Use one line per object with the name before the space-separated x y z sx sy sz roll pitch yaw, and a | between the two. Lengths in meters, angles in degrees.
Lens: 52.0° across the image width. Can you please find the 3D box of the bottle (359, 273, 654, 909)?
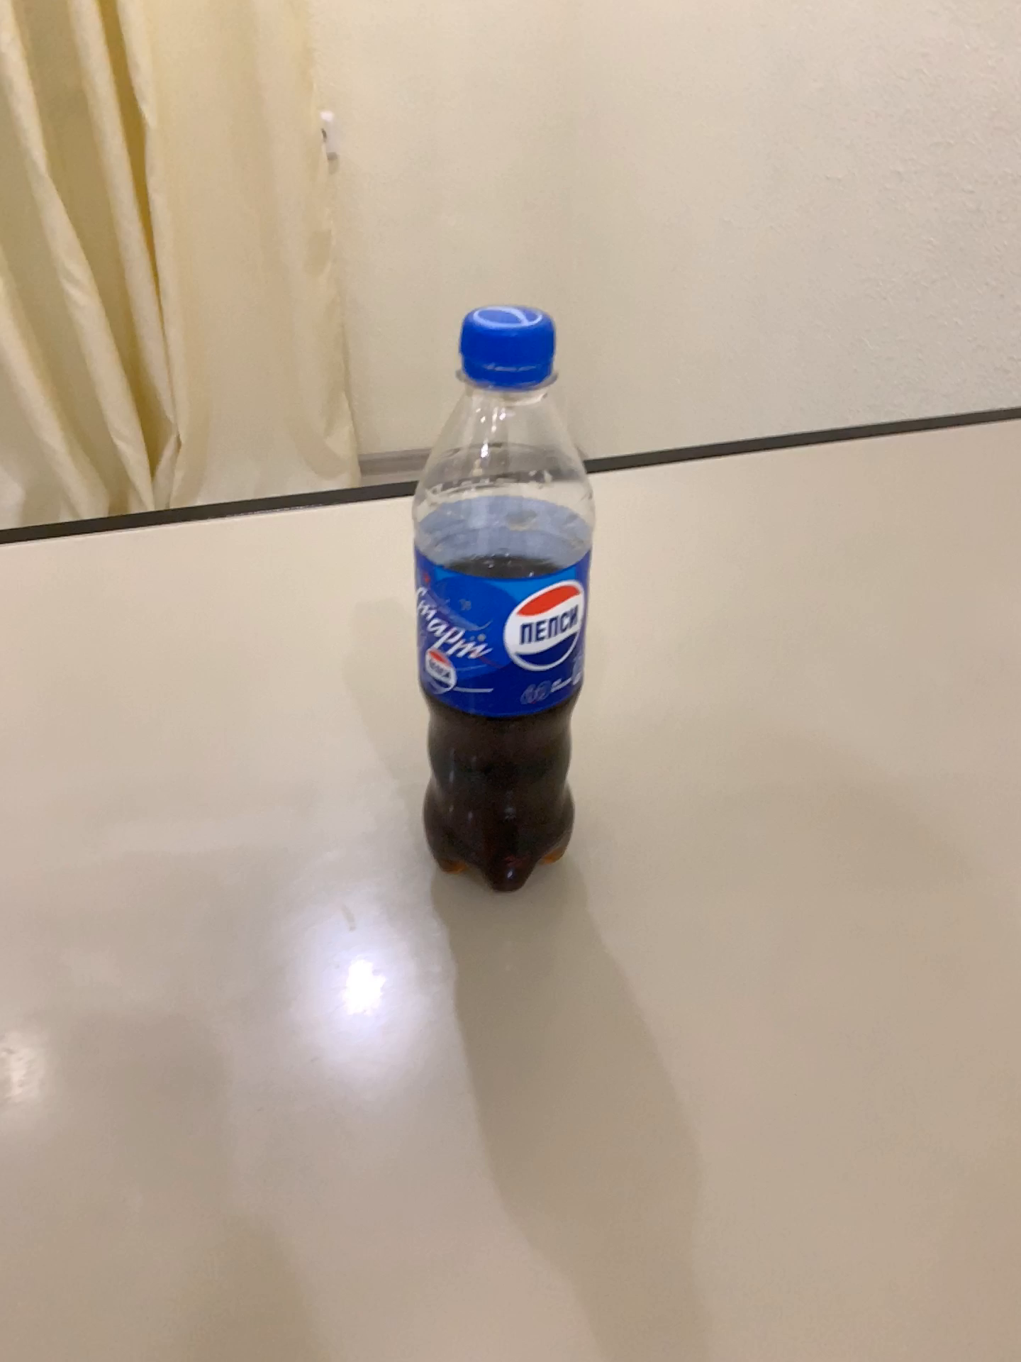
bottle | 0.000 -0.027 0.410 0.080 0.229 0.080 1 35 -1
